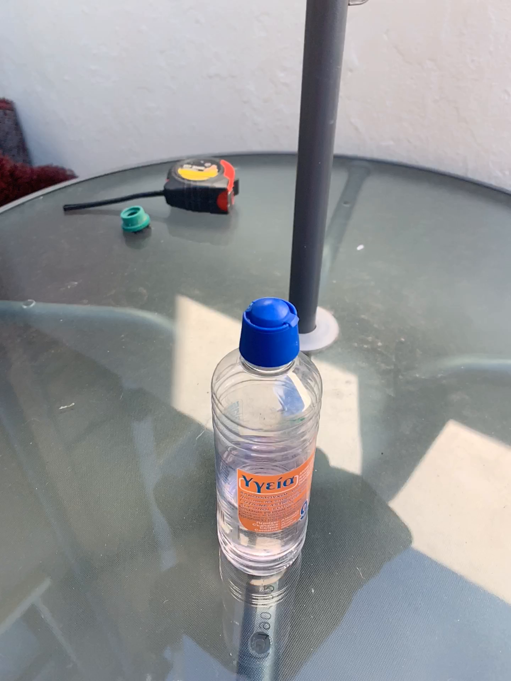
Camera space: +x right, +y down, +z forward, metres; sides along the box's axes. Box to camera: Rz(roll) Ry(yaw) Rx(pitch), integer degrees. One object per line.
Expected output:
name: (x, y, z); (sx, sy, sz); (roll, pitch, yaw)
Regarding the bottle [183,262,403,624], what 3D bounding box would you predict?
bottle: (0.009, 0.053, 0.243); (0.060, 0.158, 0.061); (1, 39, -1)
